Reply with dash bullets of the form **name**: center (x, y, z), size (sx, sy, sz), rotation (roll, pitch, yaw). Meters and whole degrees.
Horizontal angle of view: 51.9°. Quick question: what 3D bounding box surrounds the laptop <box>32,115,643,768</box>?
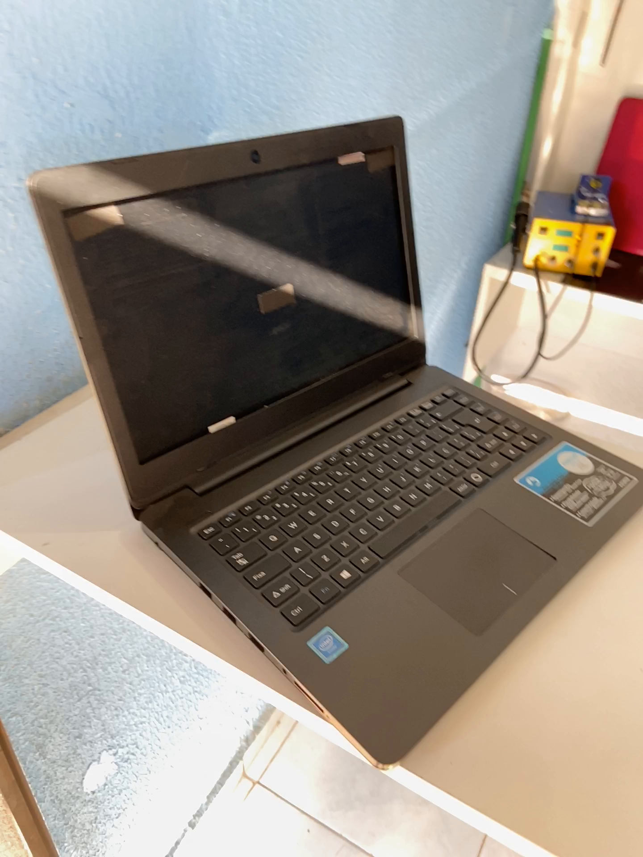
- **laptop**: center (0.053, -0.053, 0.460), size (0.339, 0.214, 0.310), rotation (-28, 46, -36)
